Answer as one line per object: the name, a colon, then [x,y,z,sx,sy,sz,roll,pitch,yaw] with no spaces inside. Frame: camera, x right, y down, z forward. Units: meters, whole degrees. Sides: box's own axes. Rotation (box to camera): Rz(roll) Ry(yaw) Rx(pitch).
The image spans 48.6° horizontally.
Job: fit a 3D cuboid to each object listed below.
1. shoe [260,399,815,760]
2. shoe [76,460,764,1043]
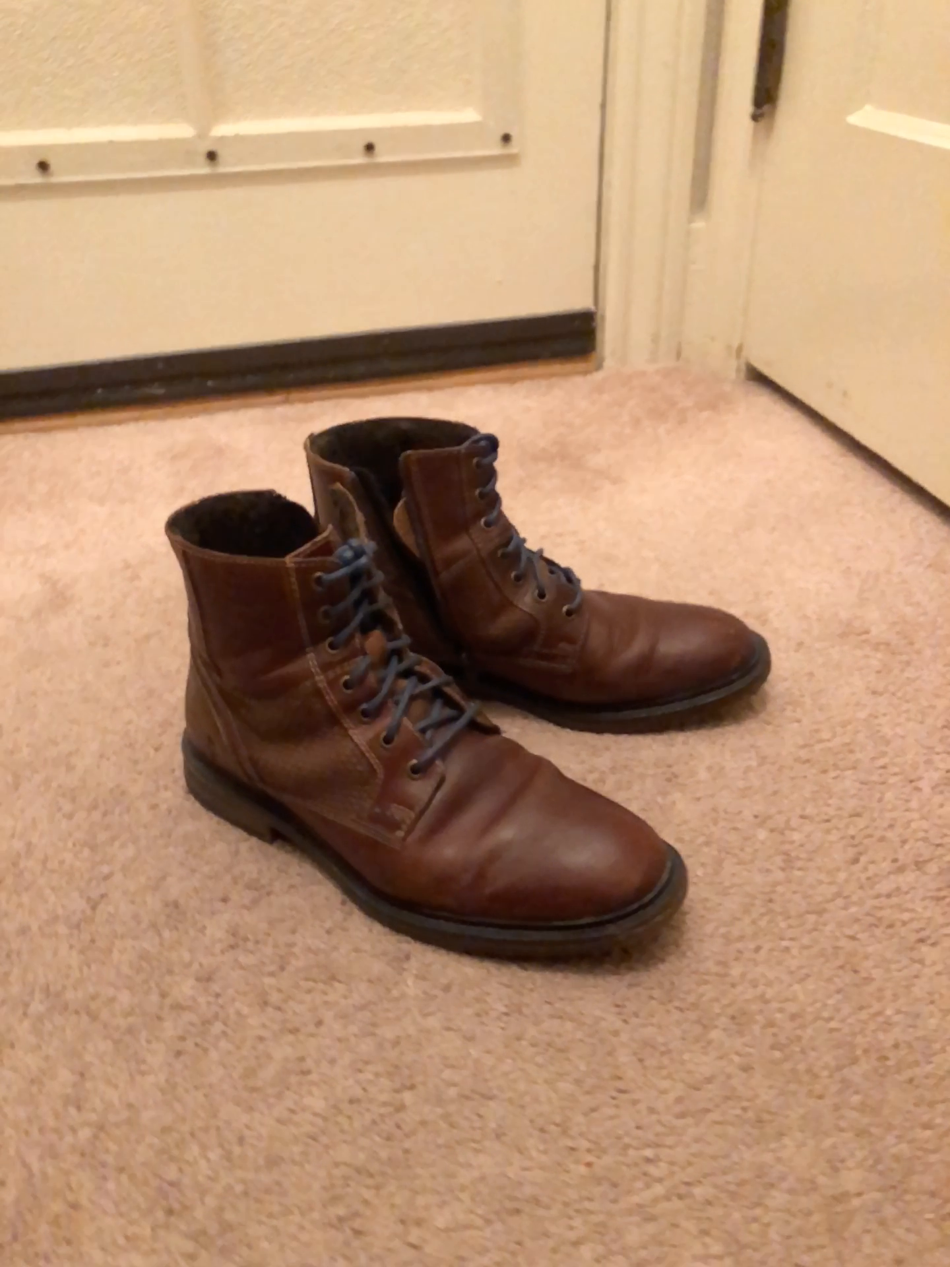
shoe: [0.039,-0.038,0.659,0.301,0.172,0.111,5,33,9]
shoe: [-0.035,0.043,0.541,0.316,0.172,0.113,18,37,27]
